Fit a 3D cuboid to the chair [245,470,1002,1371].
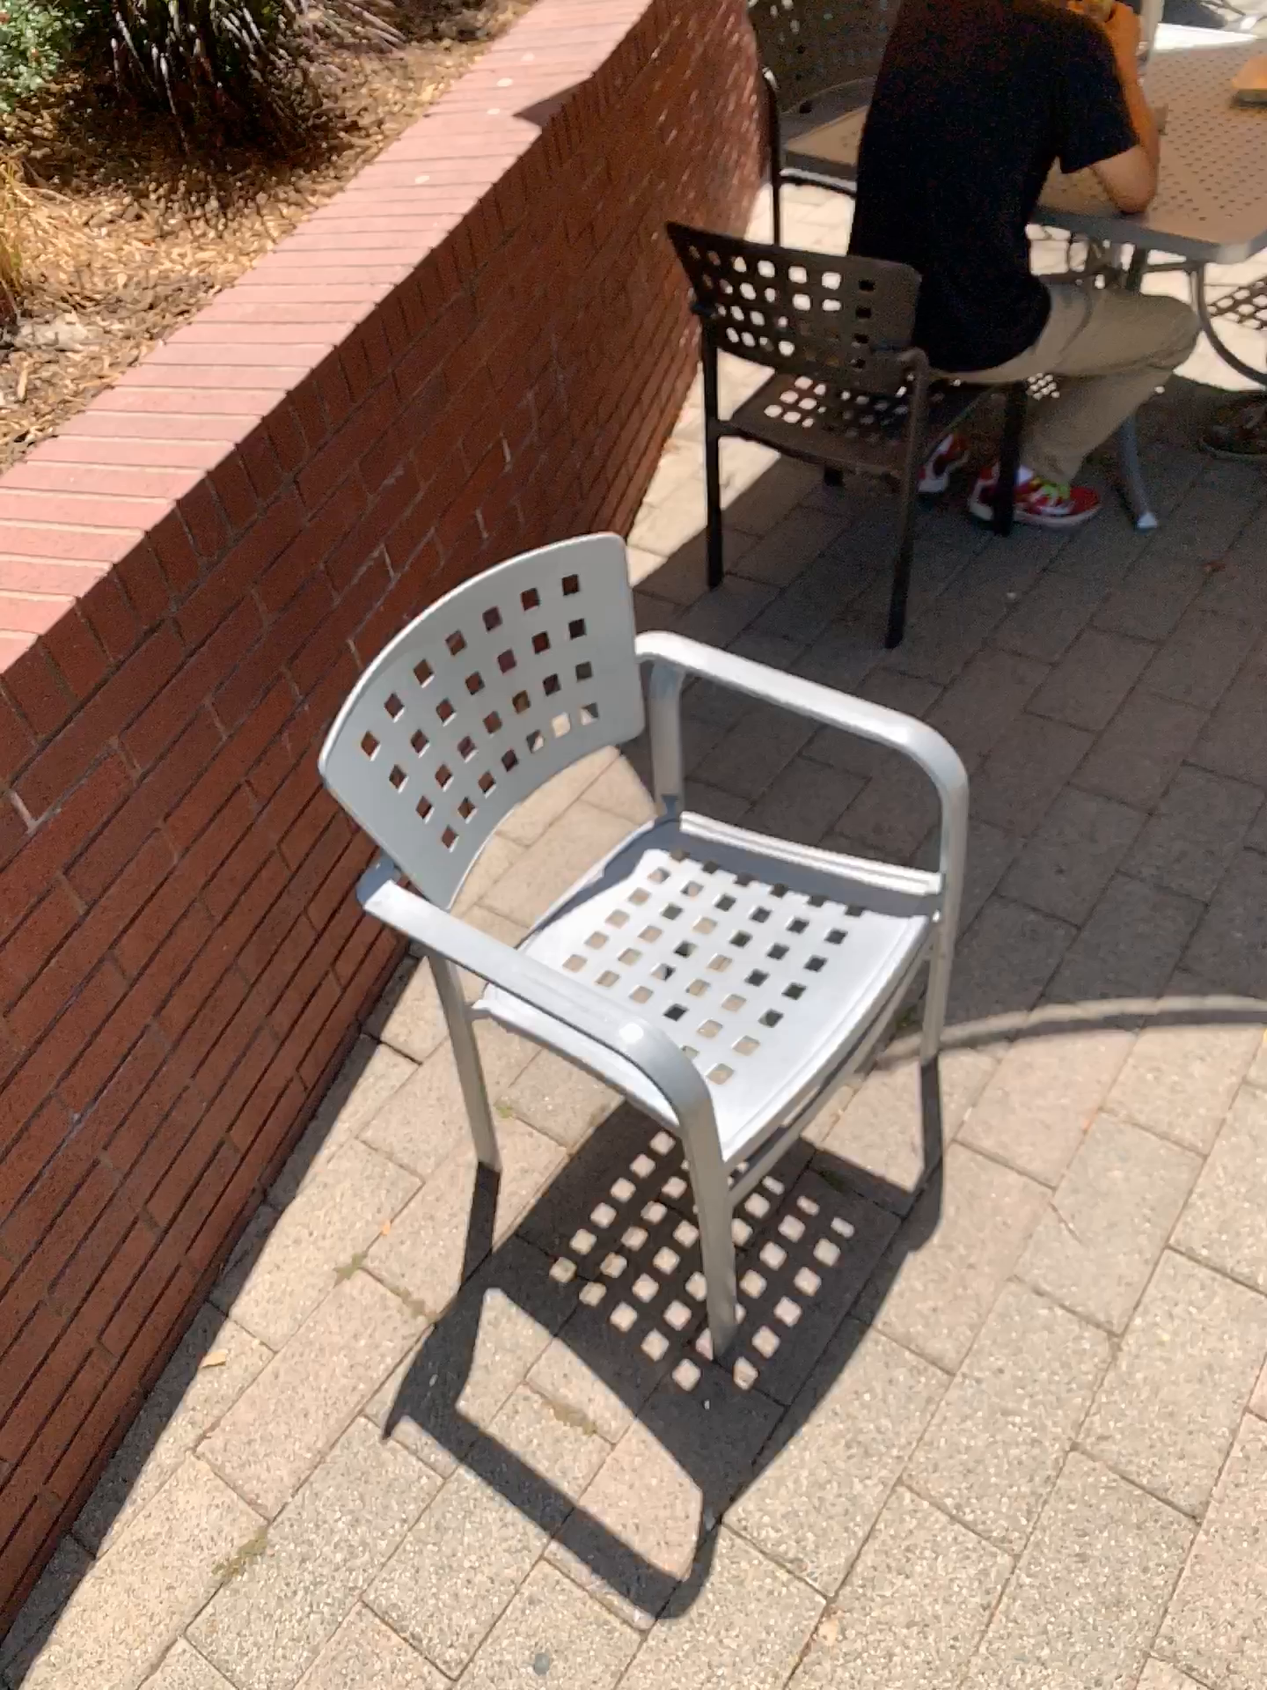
[{"bbox_3d":[0.044,0.079,1.500,0.493,0.717,0.558,22,53,29],"label":"chair"}]
